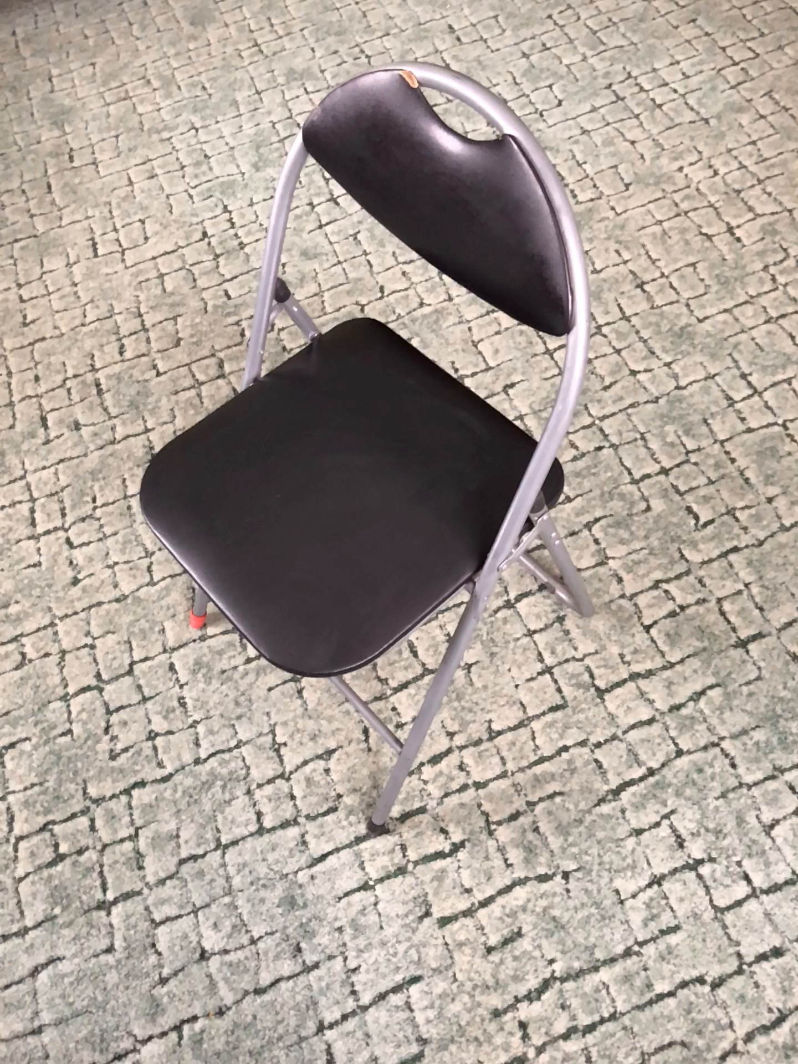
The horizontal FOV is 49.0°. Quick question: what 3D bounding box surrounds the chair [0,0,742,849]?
[{"bbox_3d":[-0.037,-0.054,1.007,0.475,0.733,0.457,-39,63,-17],"label":"chair"}]
